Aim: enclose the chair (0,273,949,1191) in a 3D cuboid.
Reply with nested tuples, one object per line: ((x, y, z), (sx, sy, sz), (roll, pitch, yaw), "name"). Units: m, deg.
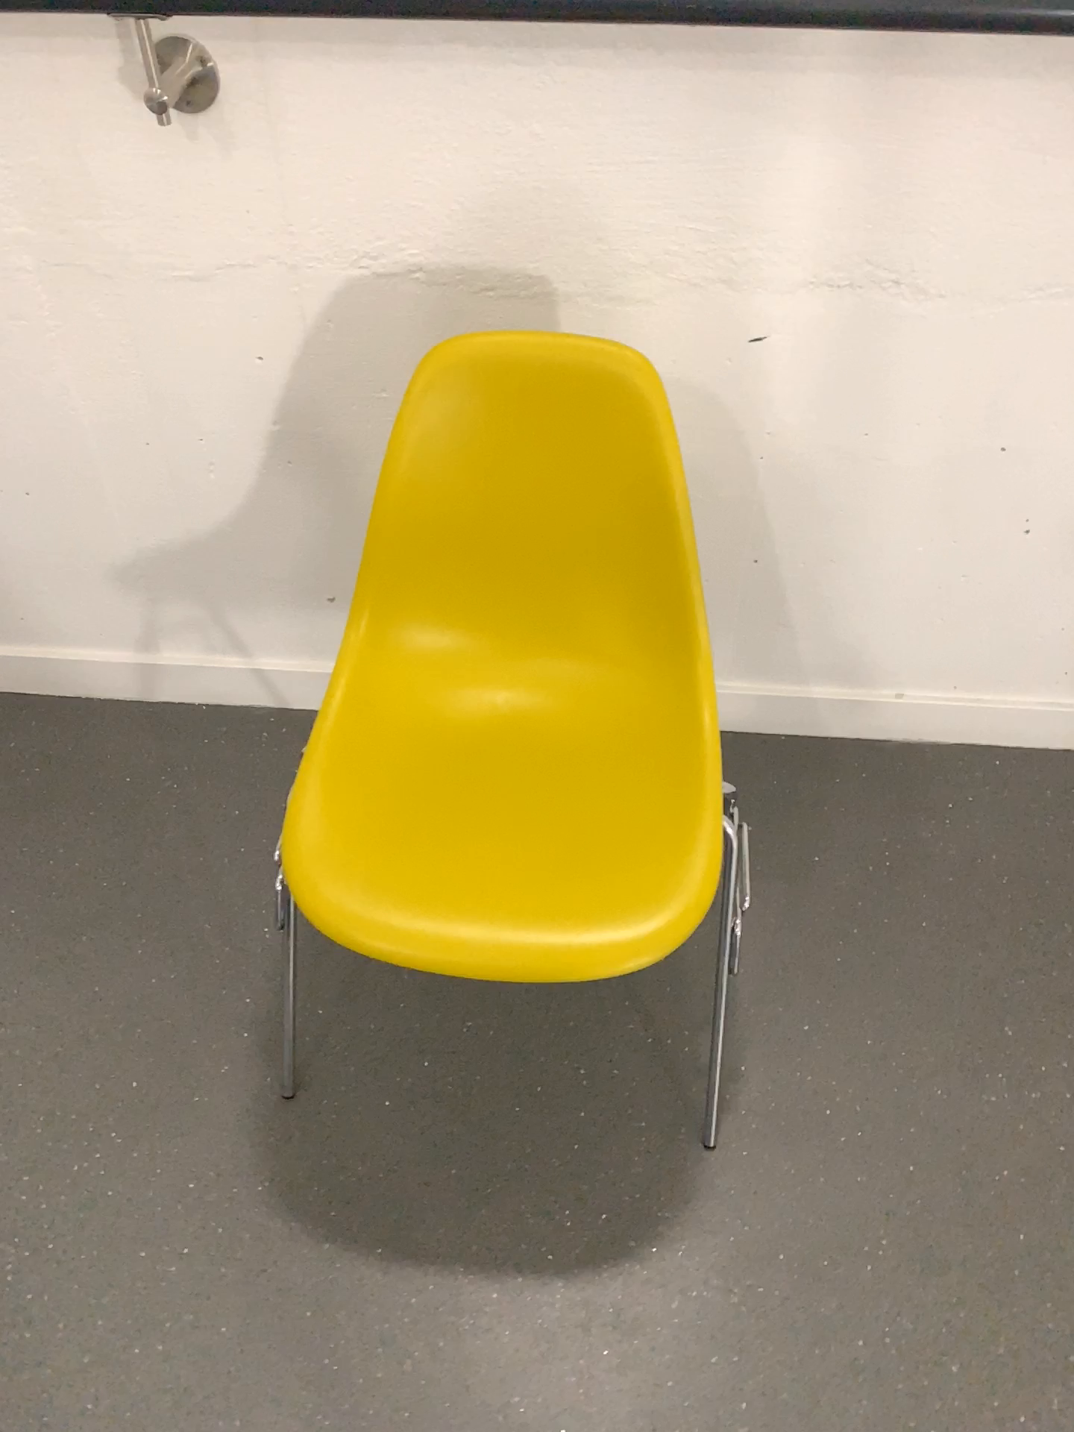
((-0.037, 0.056, 1.183), (0.630, 0.822, 0.545), (3, 46, 3), "chair")
